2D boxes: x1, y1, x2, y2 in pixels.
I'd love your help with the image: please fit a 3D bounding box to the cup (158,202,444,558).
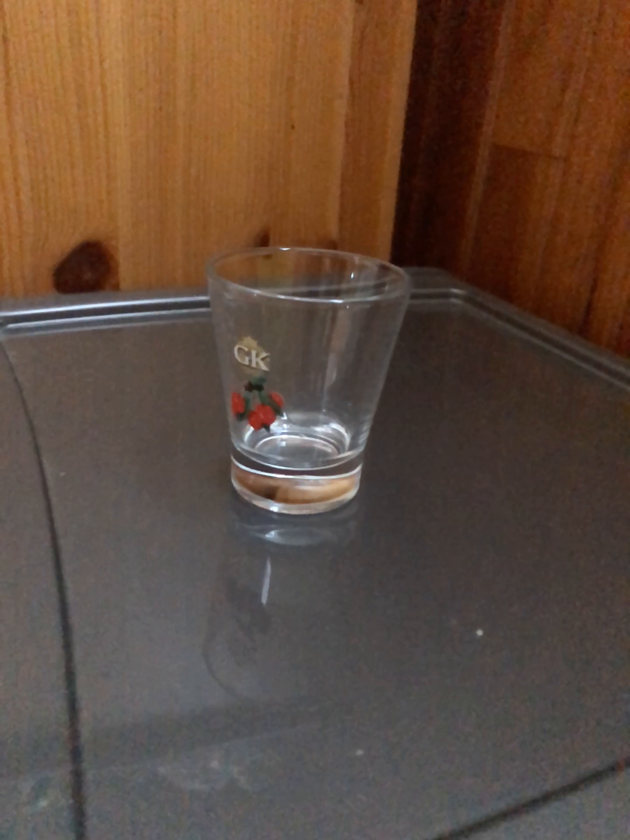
[{"bbox_3d":[-0.003,-0.016,0.209,0.060,0.080,0.060,4,26,-2],"label":"cup"}]
